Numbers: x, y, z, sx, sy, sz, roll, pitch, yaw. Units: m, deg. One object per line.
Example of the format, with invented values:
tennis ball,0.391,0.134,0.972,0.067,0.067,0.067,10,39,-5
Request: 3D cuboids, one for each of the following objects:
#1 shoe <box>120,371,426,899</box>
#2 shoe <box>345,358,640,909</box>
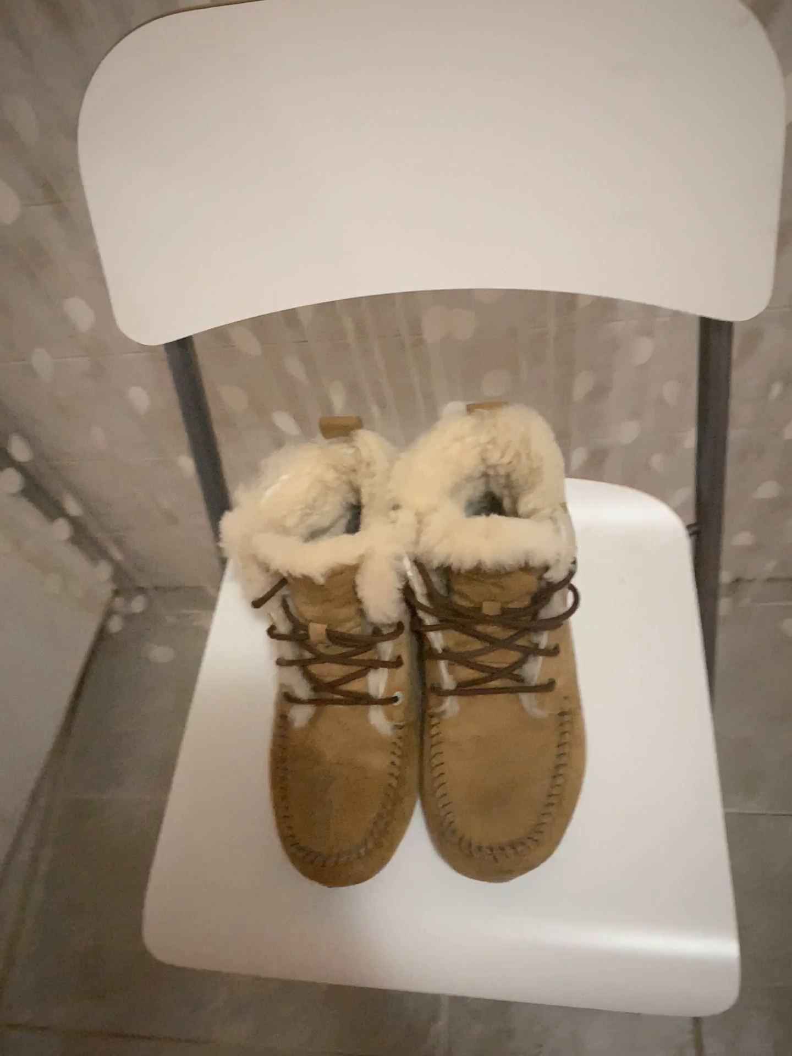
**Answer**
shoe,-0.047,0.064,0.458,0.106,0.156,0.252,-3,60,9
shoe,0.052,0.061,0.441,0.113,0.157,0.252,-3,60,9
